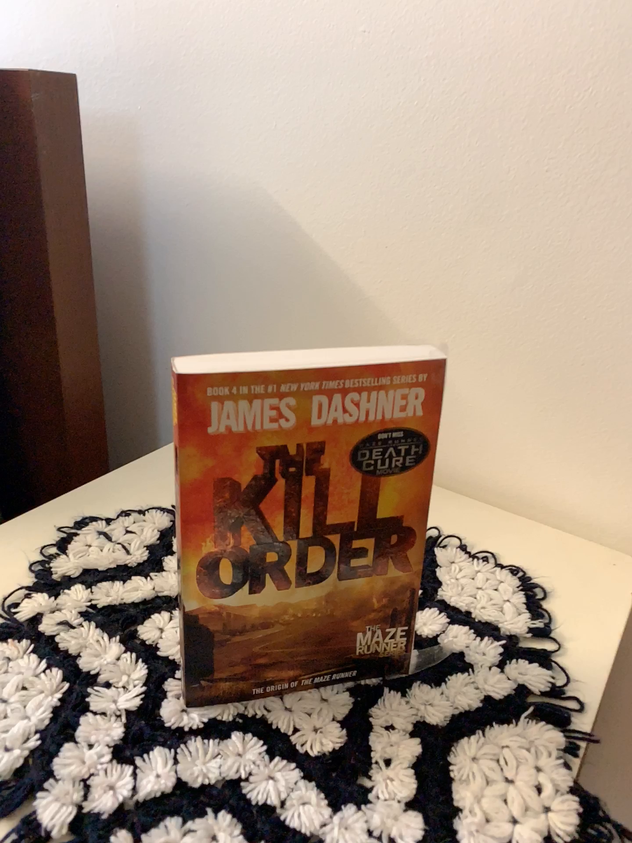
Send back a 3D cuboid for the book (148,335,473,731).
[{"bbox_3d":[-0.006,0.064,0.364,0.160,0.219,0.030,-3,23,-16],"label":"book"}]
